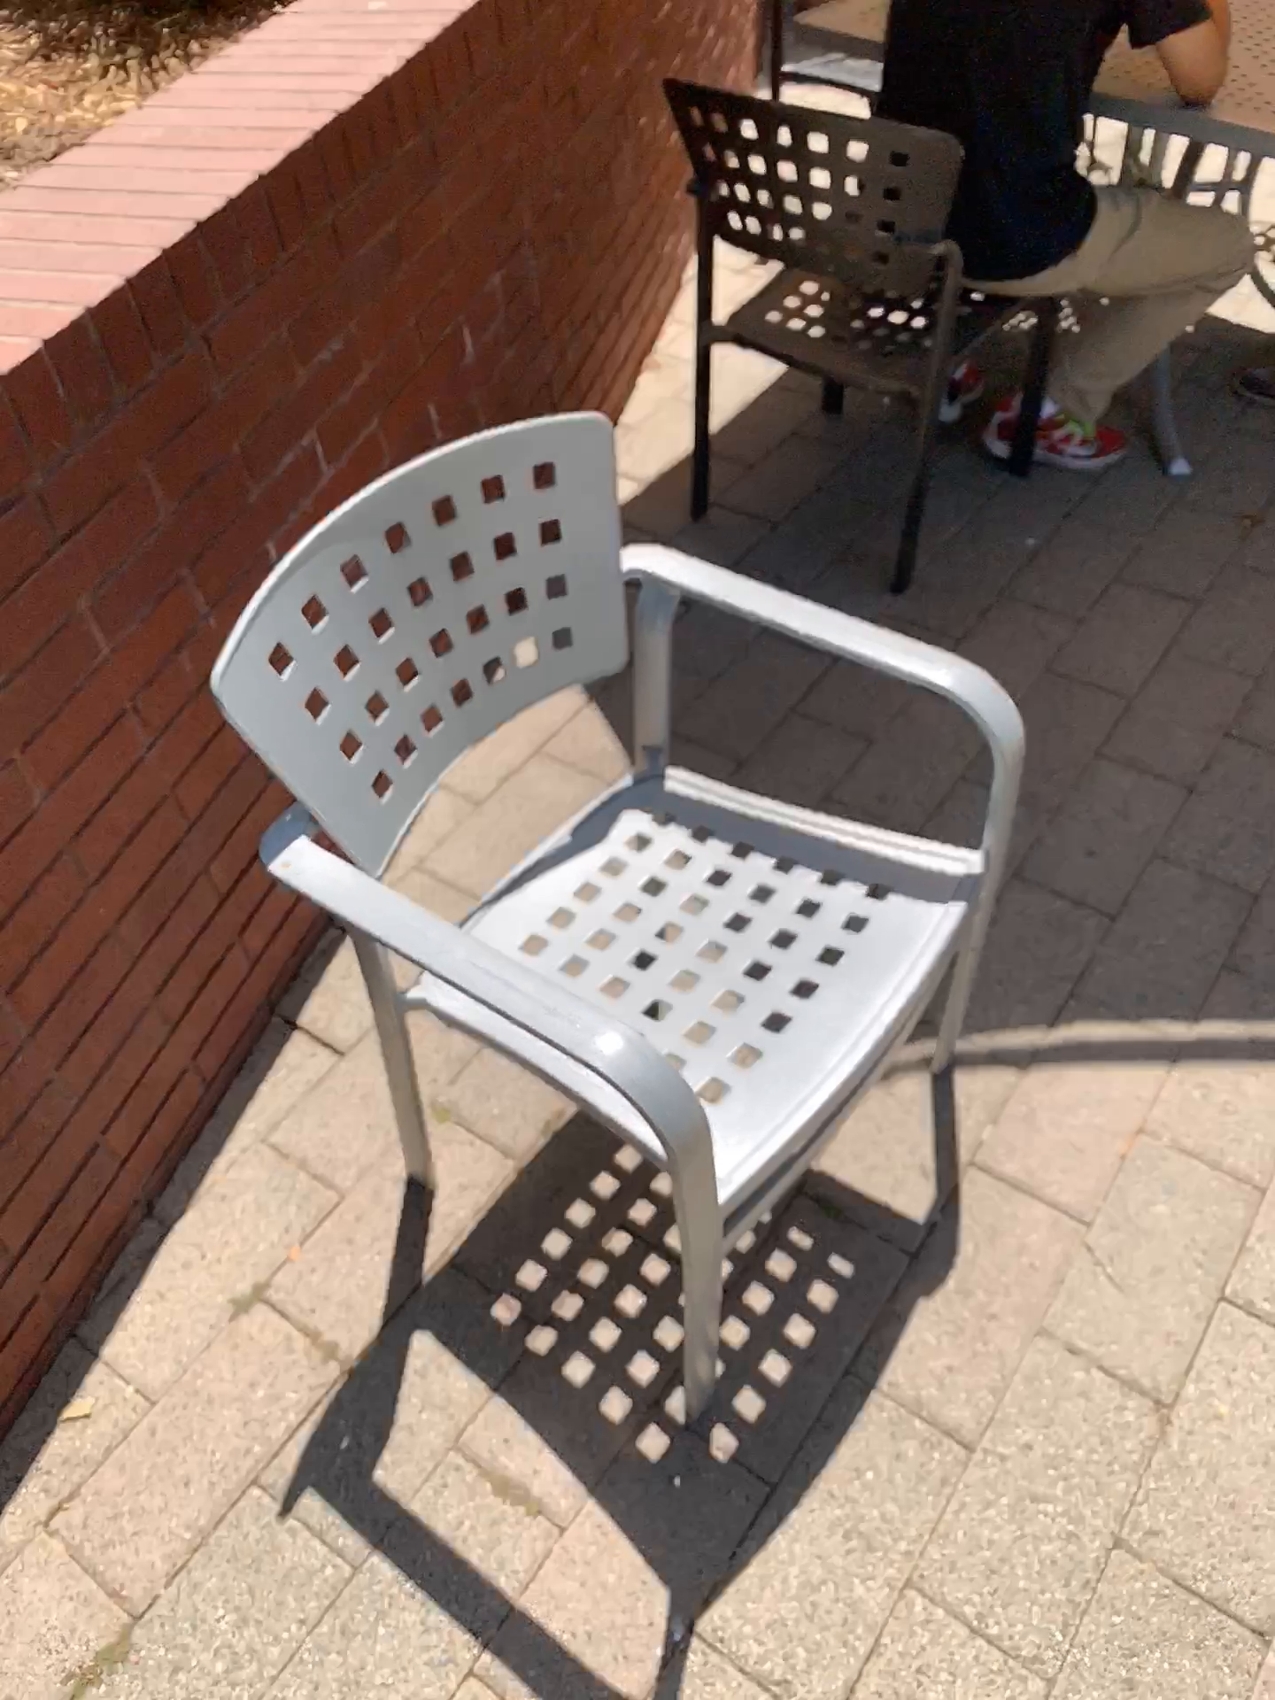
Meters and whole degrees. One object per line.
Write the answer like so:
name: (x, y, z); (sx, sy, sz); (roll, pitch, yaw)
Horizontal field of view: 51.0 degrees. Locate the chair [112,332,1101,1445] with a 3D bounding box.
chair: (0.017, 0.034, 1.232); (0.493, 0.718, 0.558); (24, 53, 26)
